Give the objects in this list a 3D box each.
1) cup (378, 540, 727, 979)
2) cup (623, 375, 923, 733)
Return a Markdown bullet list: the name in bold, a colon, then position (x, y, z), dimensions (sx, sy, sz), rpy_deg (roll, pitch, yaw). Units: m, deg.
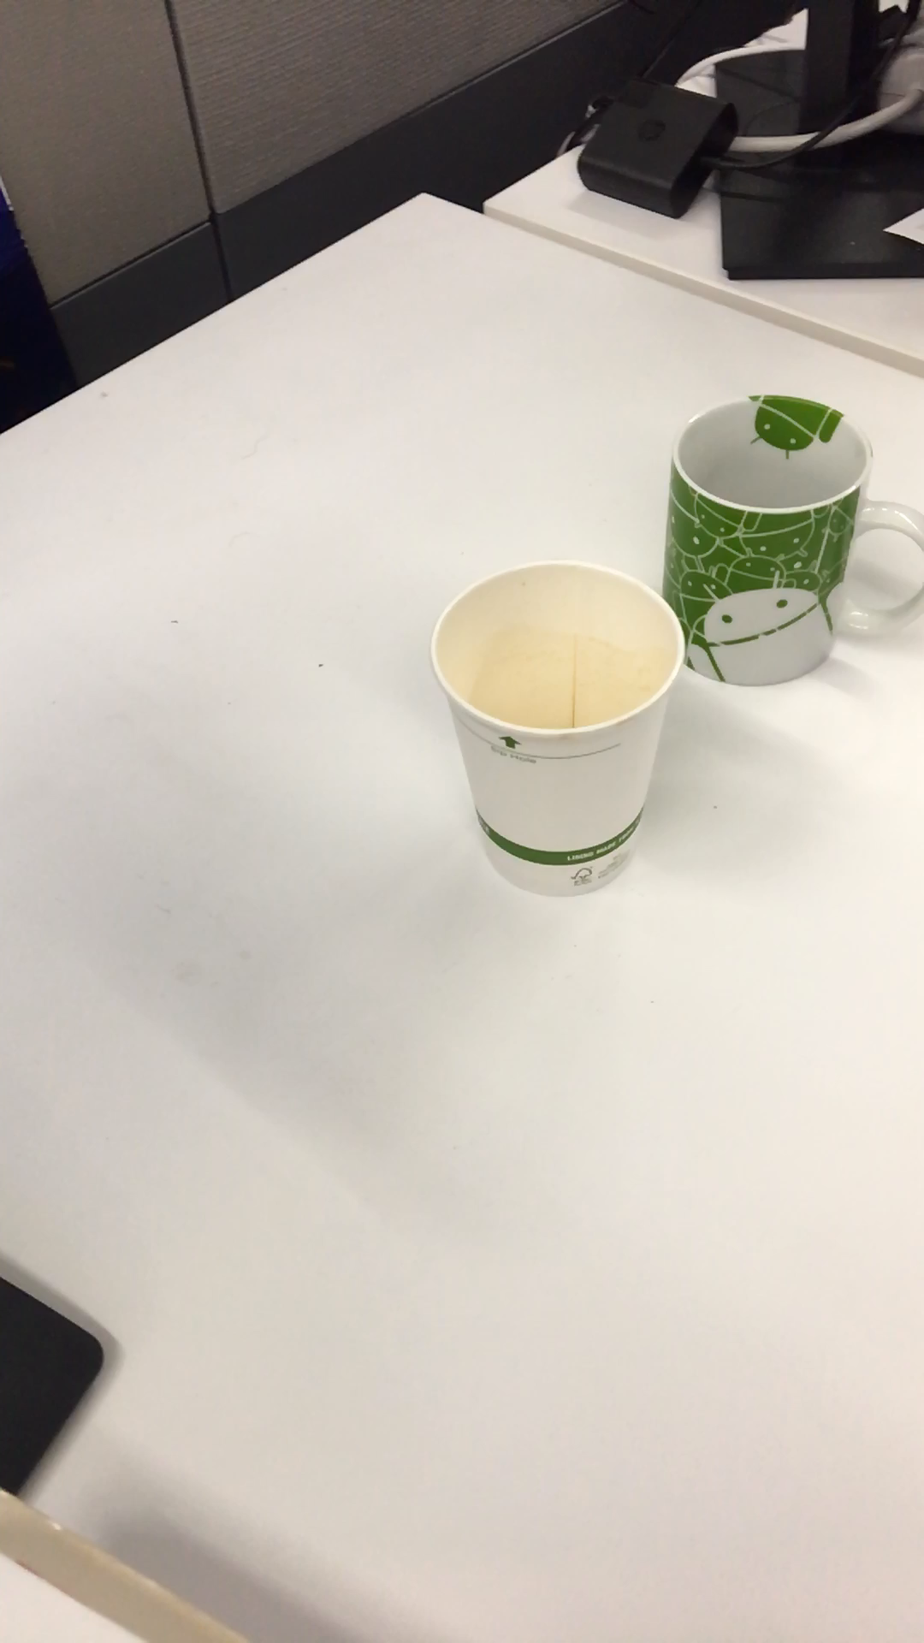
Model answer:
- **cup**: position (0.035, -0.022, 0.498), dimensions (0.090, 0.110, 0.090), rpy_deg (-2, 50, 3)
- **cup**: position (0.141, -0.114, 0.576), dimensions (0.120, 0.090, 0.090), rpy_deg (16, 53, 17)
